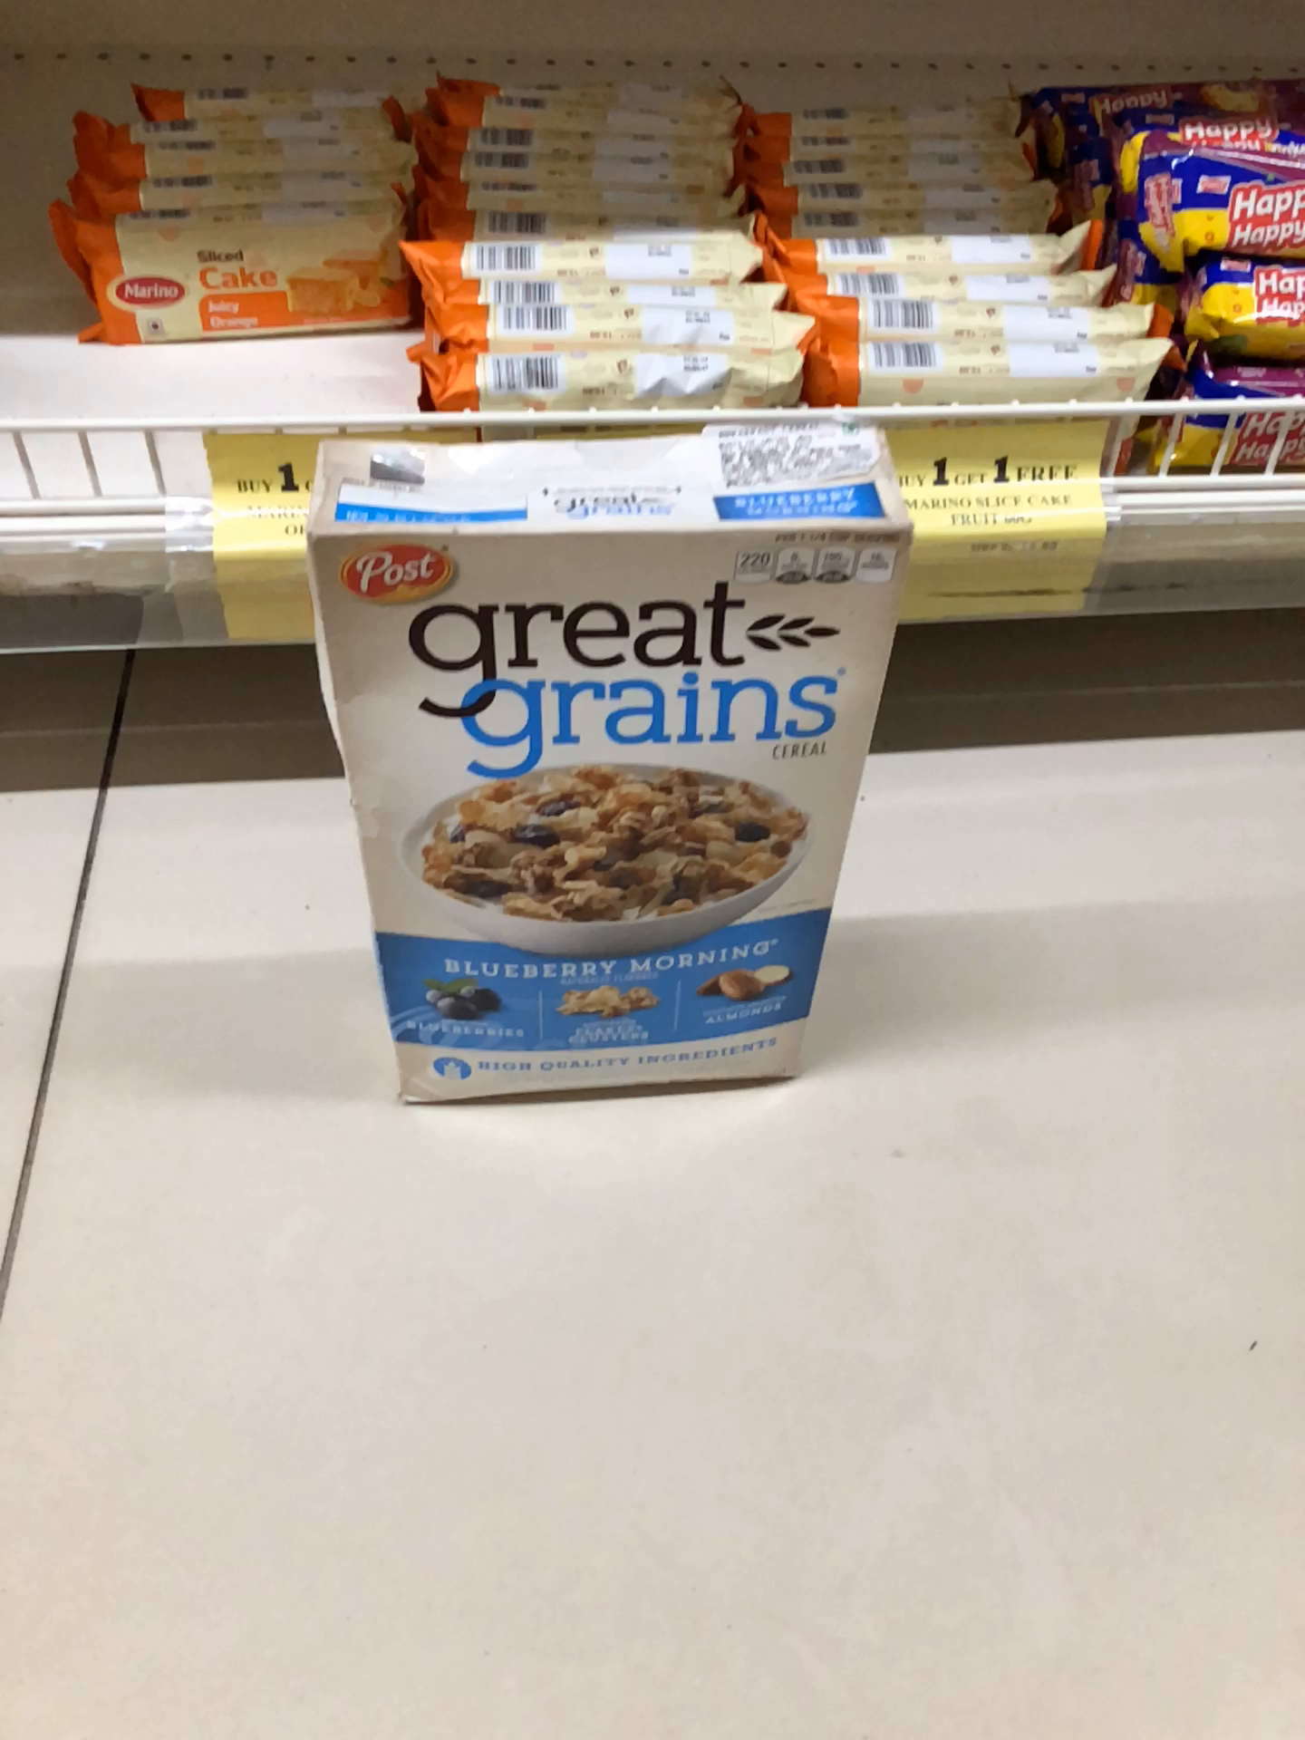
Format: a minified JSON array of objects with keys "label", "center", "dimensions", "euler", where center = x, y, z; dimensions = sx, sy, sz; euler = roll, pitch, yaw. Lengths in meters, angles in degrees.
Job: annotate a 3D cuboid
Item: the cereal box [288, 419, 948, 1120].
[{"label":"cereal box","center":[-0.016,-0.018,0.485],"dimensions":[0.170,0.258,0.060],"euler":[-3,48,-6]}]
